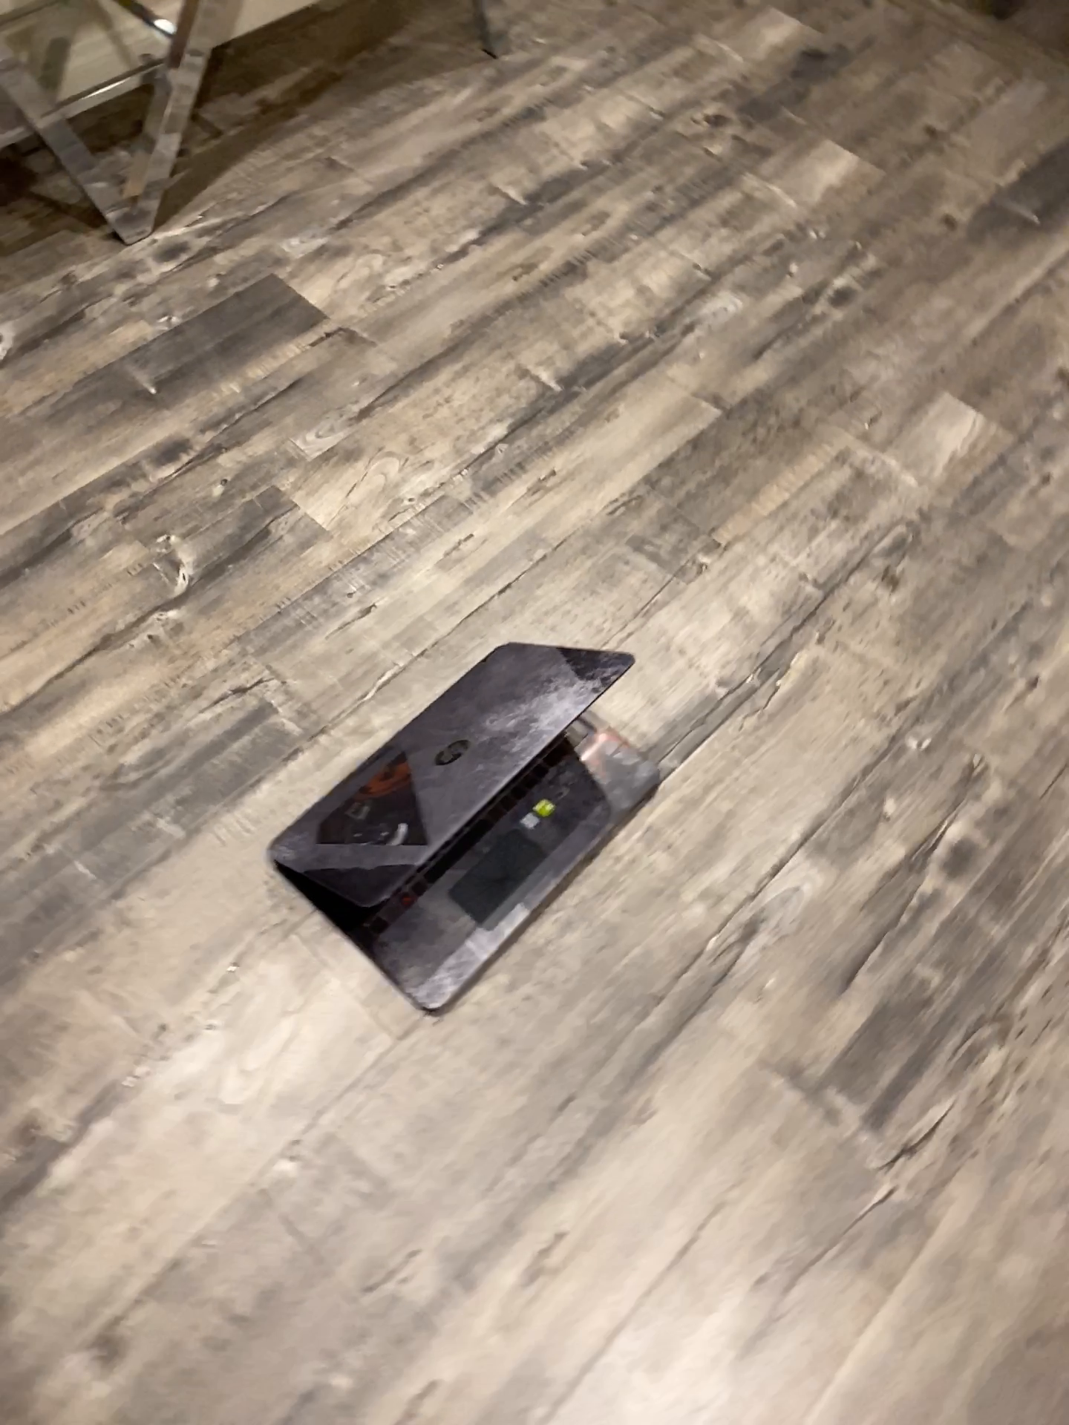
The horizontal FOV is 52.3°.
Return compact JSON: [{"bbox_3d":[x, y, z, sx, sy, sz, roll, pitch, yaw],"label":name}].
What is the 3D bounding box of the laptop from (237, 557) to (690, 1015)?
[{"bbox_3d":[-0.066,0.069,1.133,0.250,0.177,0.375,39,64,17],"label":"laptop"}]
